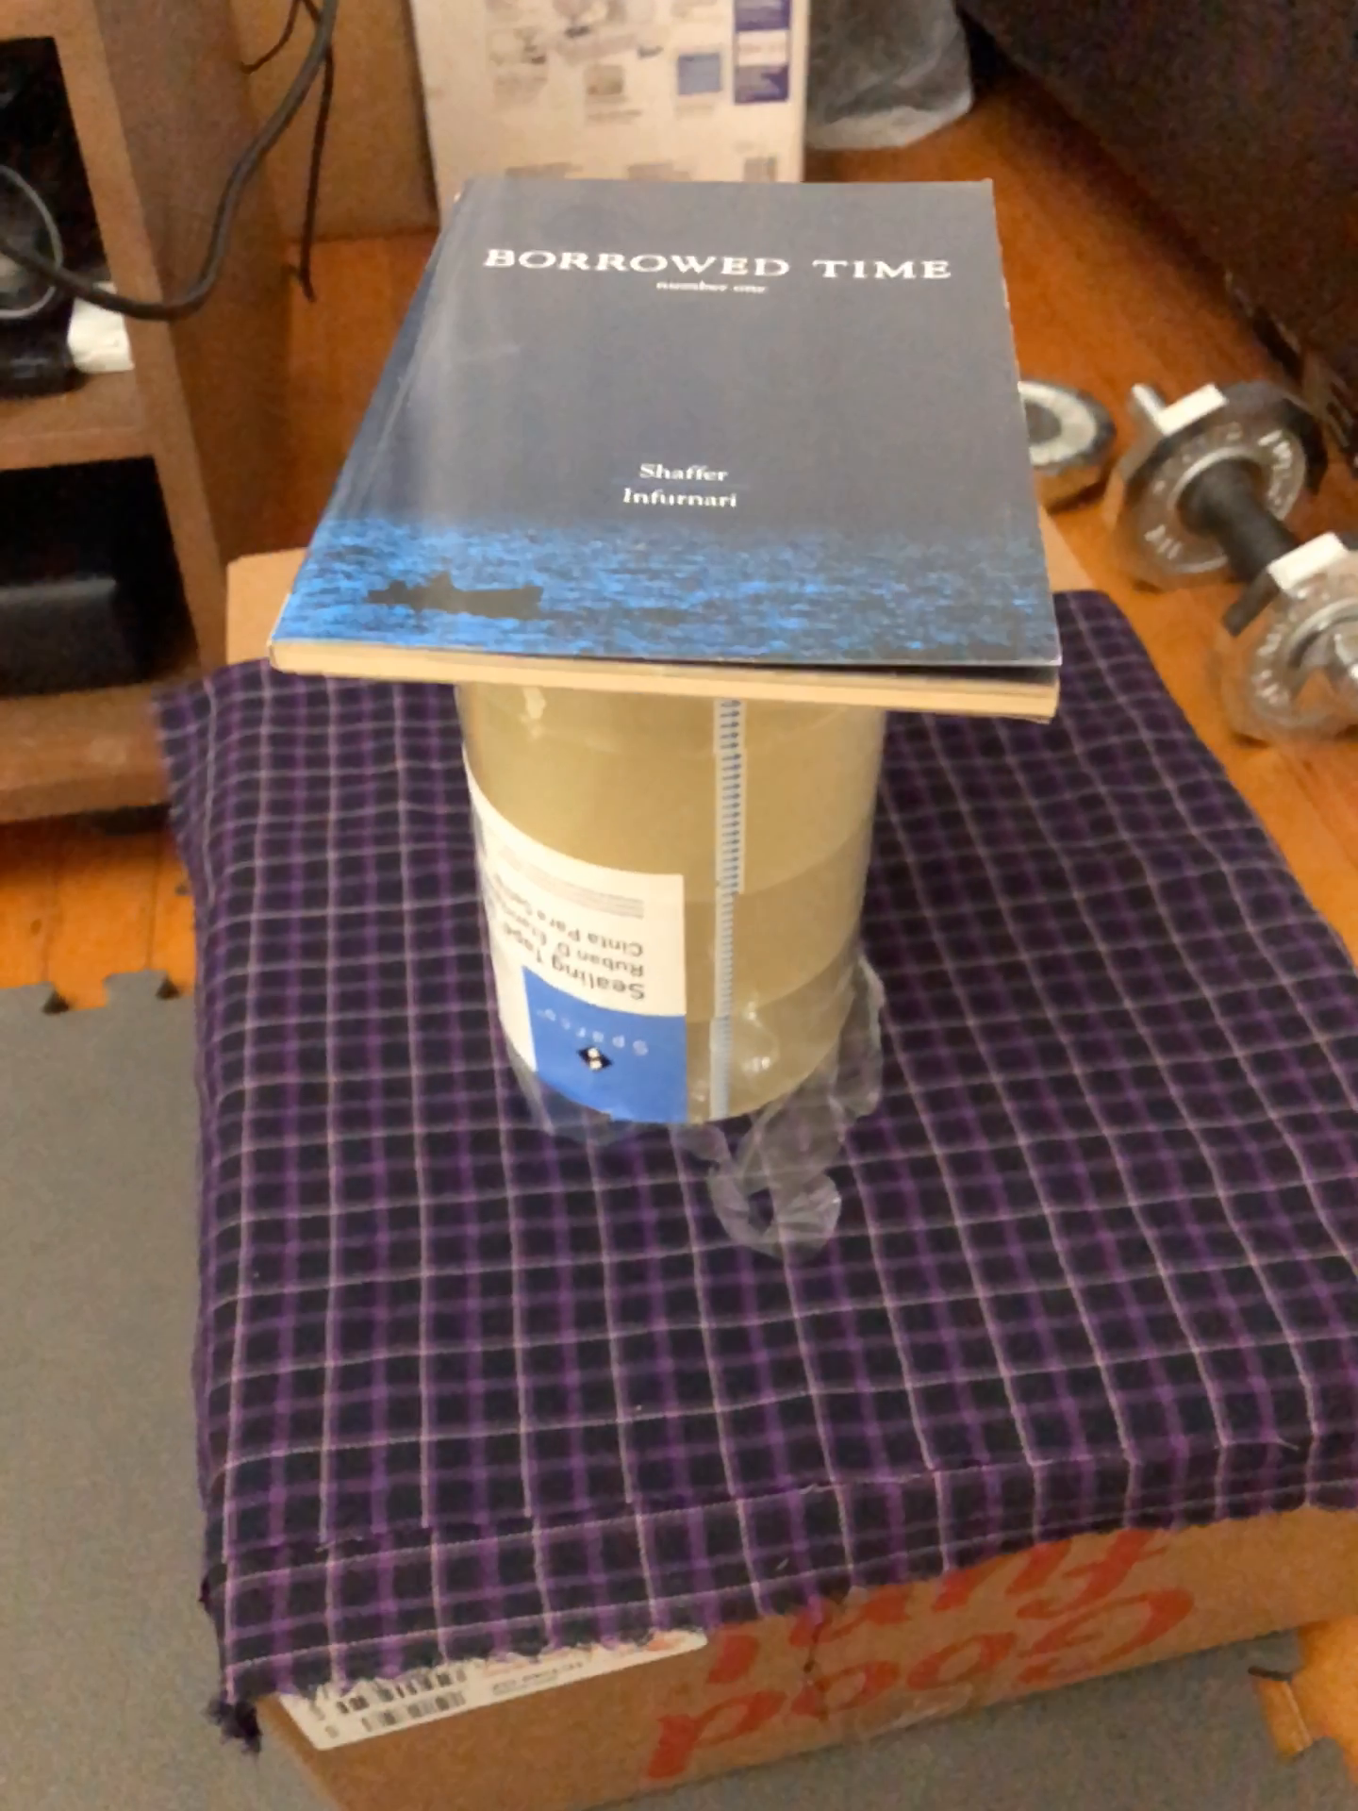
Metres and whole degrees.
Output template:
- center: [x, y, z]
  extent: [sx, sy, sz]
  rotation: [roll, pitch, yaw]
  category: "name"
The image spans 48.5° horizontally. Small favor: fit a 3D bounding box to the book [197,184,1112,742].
- center: [0.003, -0.118, 0.348]
  extent: [0.160, 0.010, 0.231]
  rotation: [3, 45, 3]
  category: "book"
